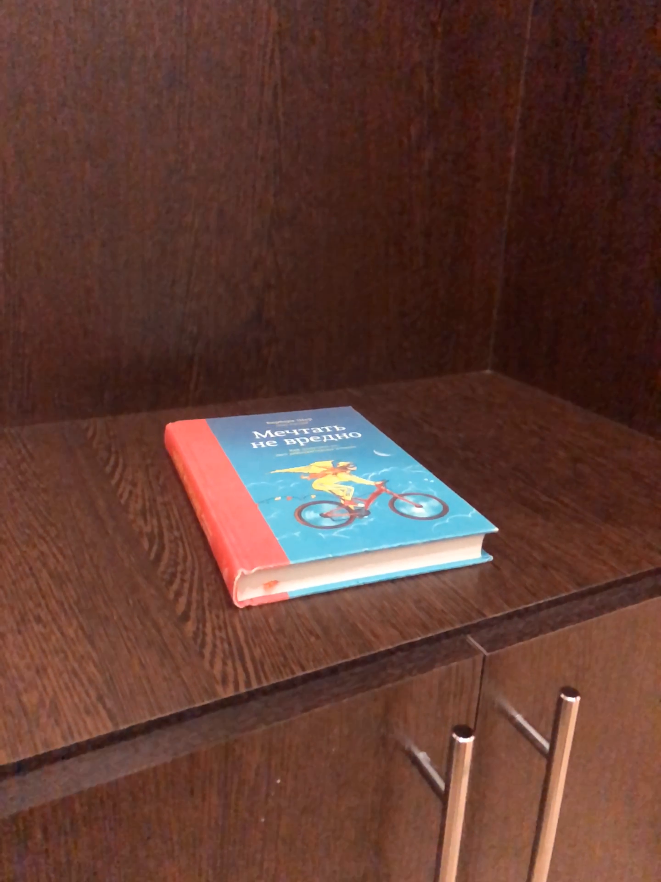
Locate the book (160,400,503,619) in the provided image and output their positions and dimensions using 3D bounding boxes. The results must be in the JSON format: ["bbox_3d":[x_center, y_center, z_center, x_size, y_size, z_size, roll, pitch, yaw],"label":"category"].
[{"bbox_3d":[-0.015,0.026,0.455,0.145,0.025,0.211,-6,24,-20],"label":"book"}]
